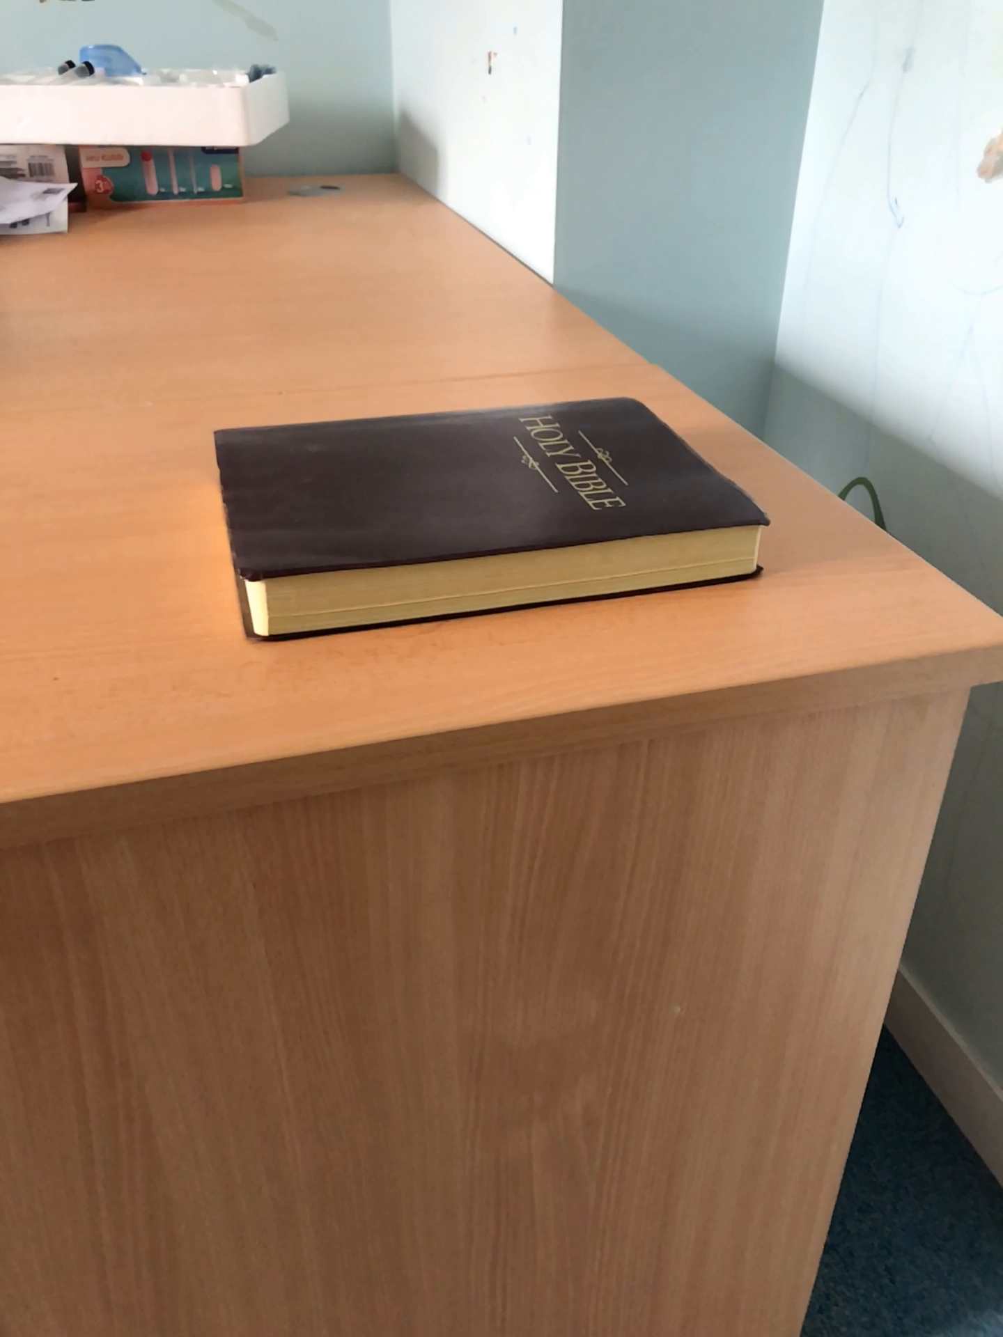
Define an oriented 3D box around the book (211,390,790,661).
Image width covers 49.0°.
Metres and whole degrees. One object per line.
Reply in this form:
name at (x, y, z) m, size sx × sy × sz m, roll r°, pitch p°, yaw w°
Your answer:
book at (-0.016, -0.096, 0.634) m, size 0.280 × 0.040 × 0.224 m, roll -8°, pitch 32°, yaw -13°
